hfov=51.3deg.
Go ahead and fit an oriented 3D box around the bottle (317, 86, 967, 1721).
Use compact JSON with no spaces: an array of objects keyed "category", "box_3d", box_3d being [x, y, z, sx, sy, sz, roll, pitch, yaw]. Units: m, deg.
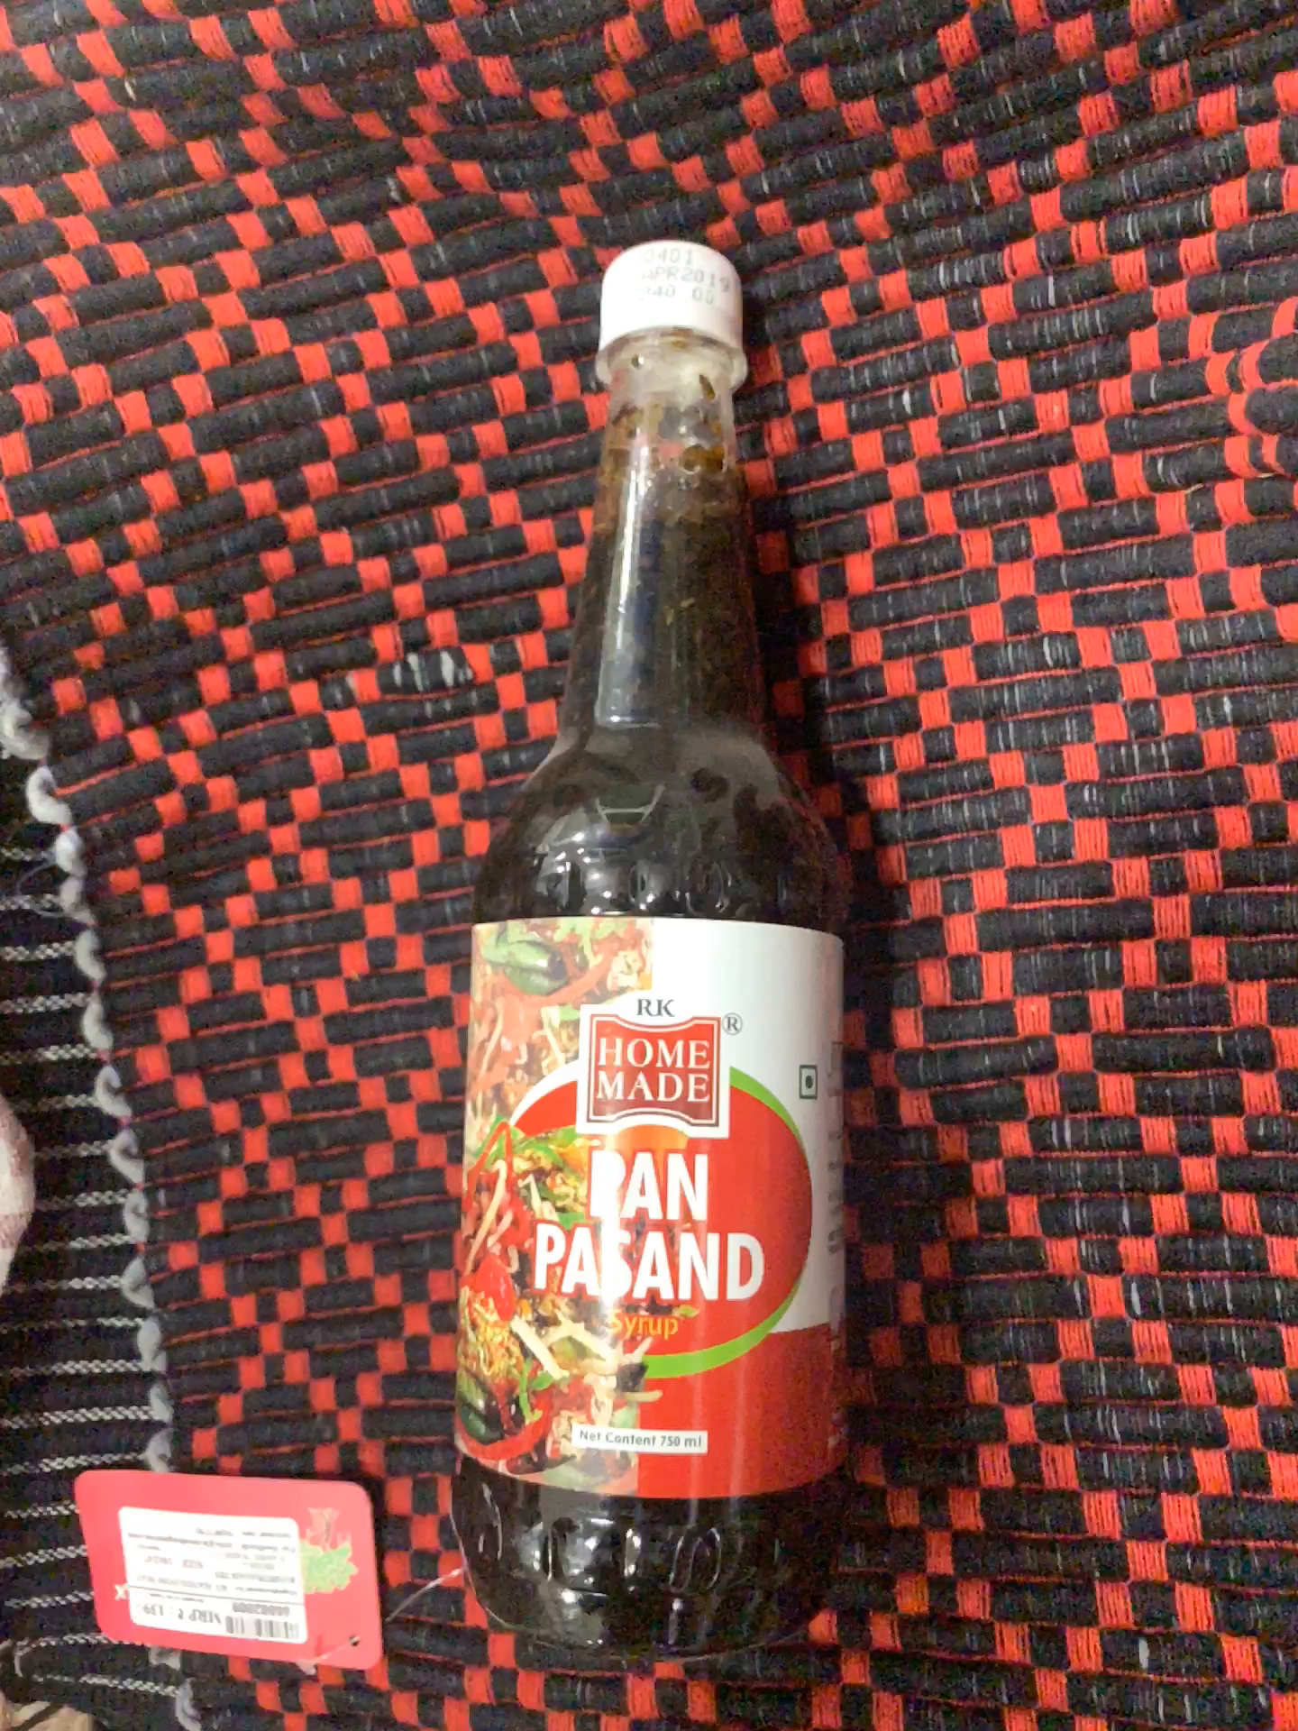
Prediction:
[{"category":"bottle","box_3d":[0.011,-0.003,0.278,0.090,0.080,0.280,-2,75,23]}]
